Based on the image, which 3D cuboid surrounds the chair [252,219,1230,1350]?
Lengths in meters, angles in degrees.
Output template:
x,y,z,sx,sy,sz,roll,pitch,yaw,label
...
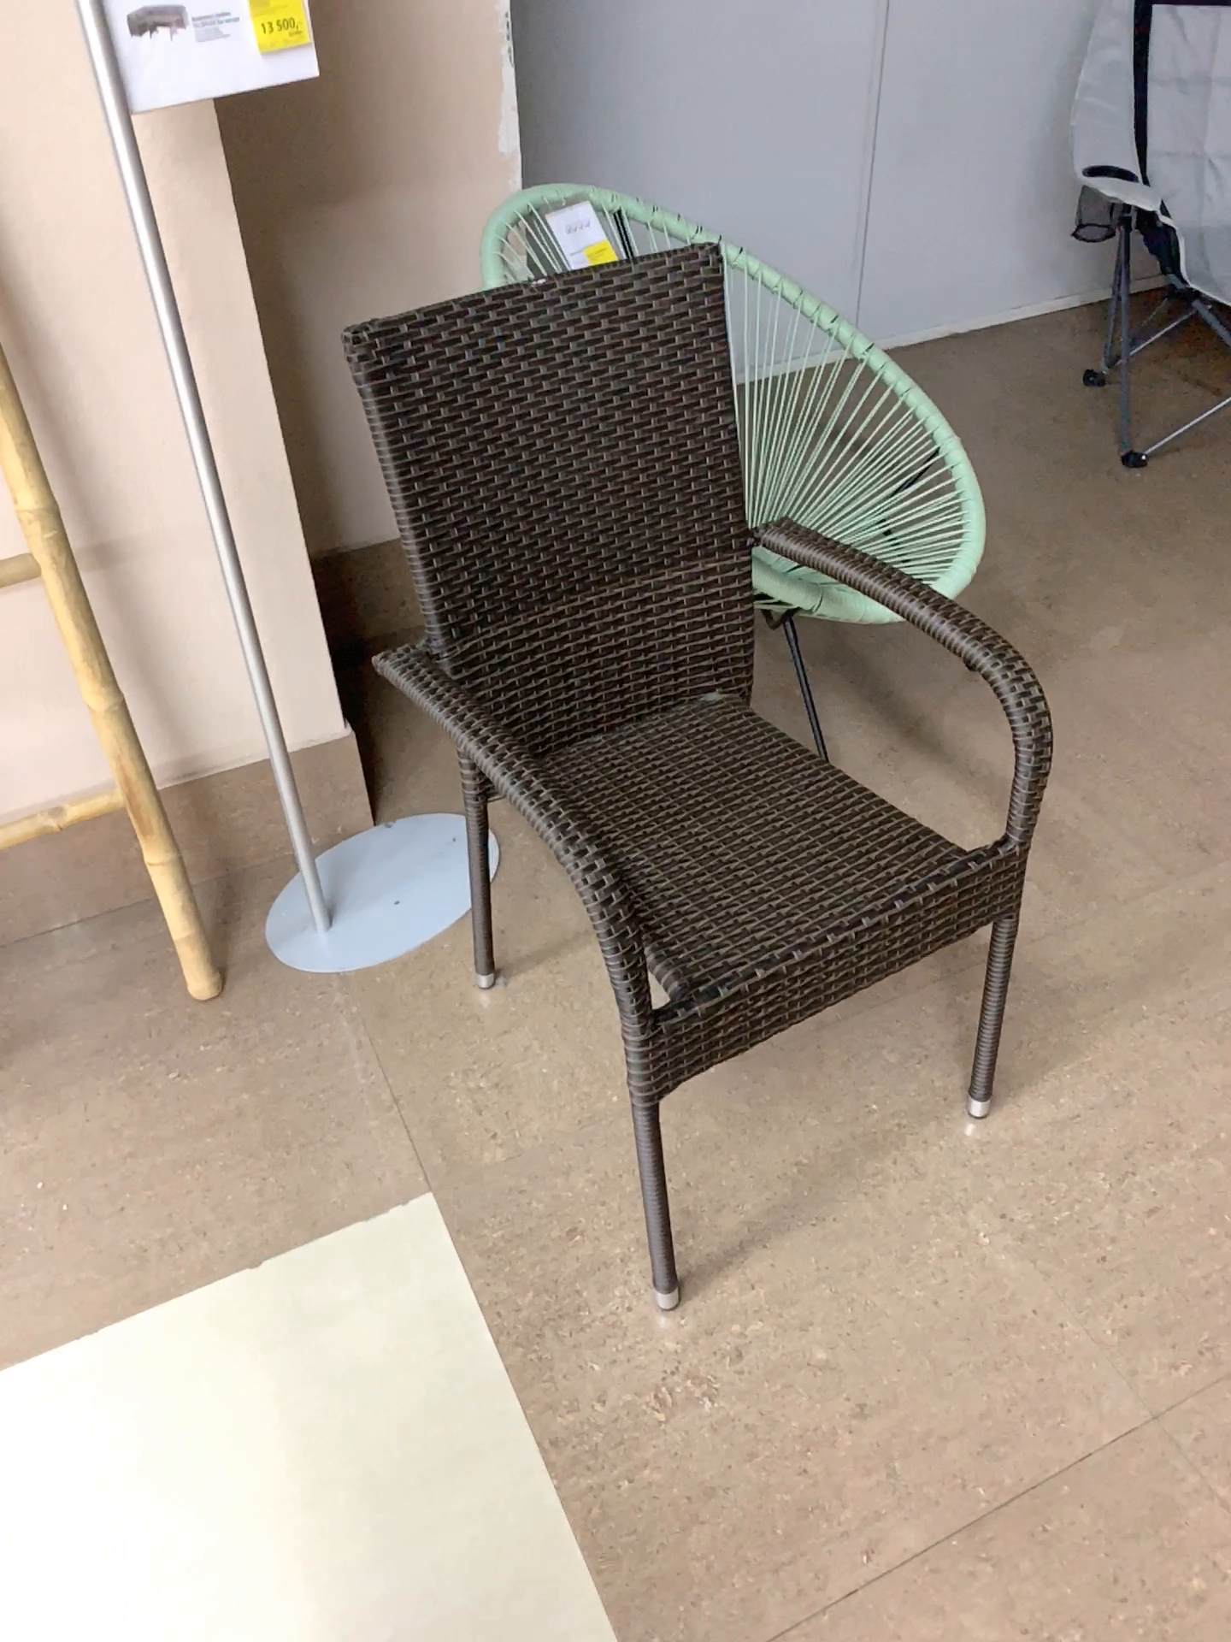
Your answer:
x,y,z,sx,sy,sz,roll,pitch,yaw,label
0.092,-0.056,1.464,0.620,0.955,0.683,-23,45,-22,chair
